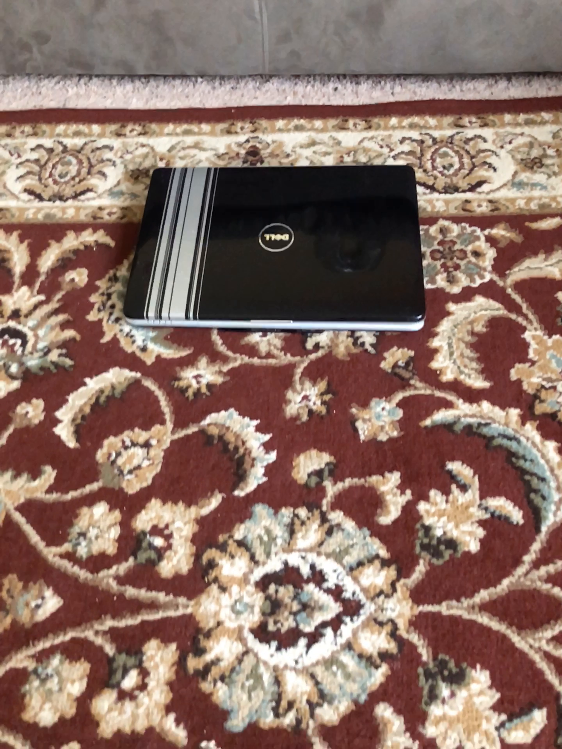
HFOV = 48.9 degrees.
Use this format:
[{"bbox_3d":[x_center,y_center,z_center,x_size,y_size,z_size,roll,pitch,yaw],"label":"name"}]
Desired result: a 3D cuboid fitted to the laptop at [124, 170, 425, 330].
[{"bbox_3d":[-0.004,-0.166,0.782,0.351,0.015,0.242,1,61,4],"label":"laptop"}]
